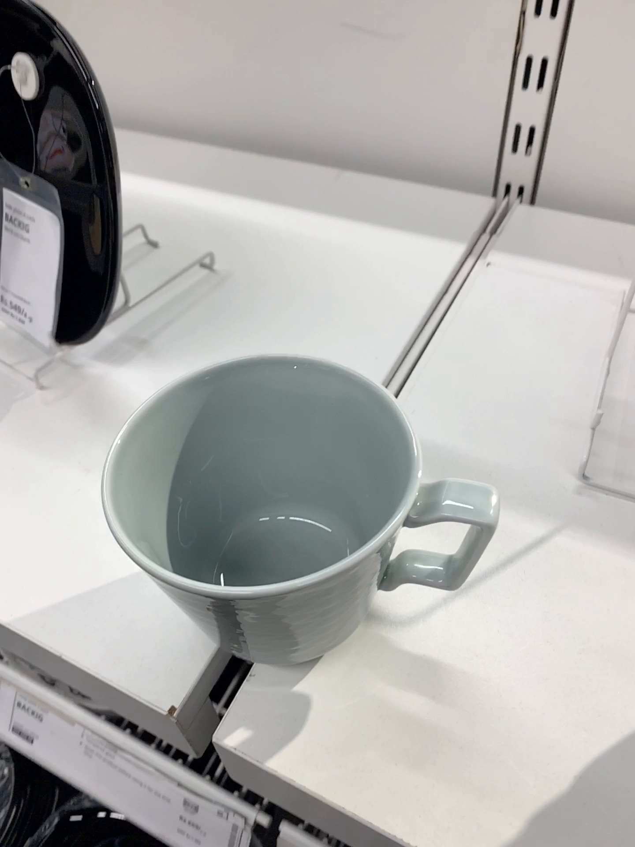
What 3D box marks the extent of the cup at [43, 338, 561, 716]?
[{"bbox_3d":[-0.004,0.033,0.225,0.130,0.070,0.100,-3,45,0],"label":"cup"}]
